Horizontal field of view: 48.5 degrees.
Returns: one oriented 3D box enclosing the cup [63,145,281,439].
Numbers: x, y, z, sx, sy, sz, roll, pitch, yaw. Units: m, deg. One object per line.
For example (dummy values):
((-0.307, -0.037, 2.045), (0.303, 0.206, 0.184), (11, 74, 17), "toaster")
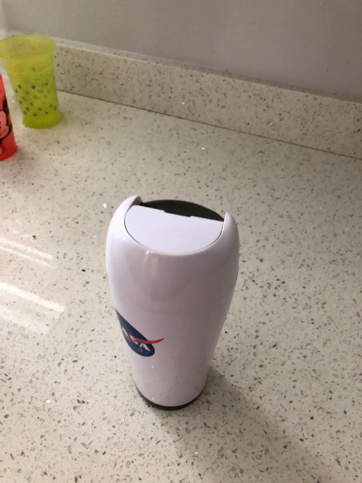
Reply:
((-0.007, 0.044, 0.272), (0.081, 0.182, 0.078), (1, 47, -1), "cup")
